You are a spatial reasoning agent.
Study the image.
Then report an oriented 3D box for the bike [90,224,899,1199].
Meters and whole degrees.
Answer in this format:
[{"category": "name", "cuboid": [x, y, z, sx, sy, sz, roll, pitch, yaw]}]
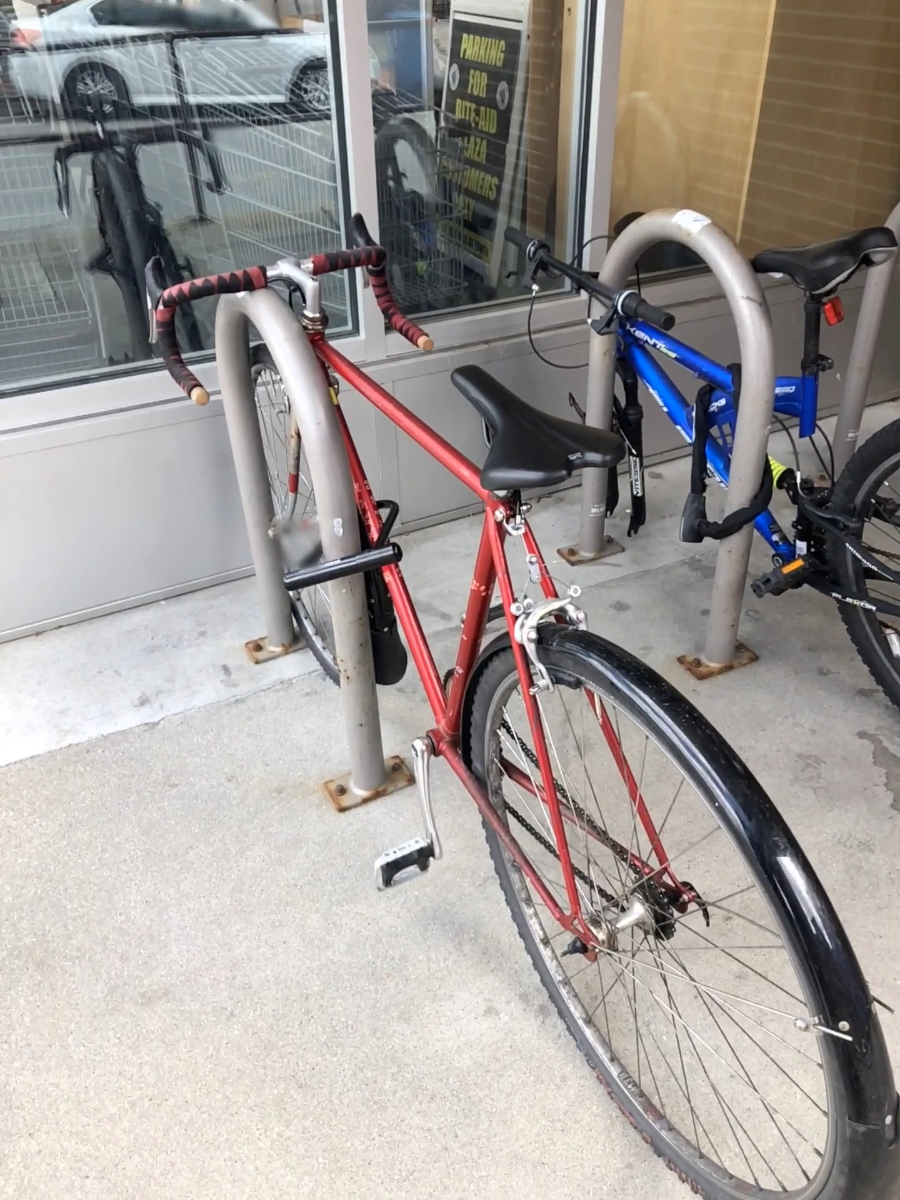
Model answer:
[{"category": "bike", "cuboid": [-0.047, 0.088, 1.497, 0.459, 0.787, 1.697, -18, 40, -22]}]
